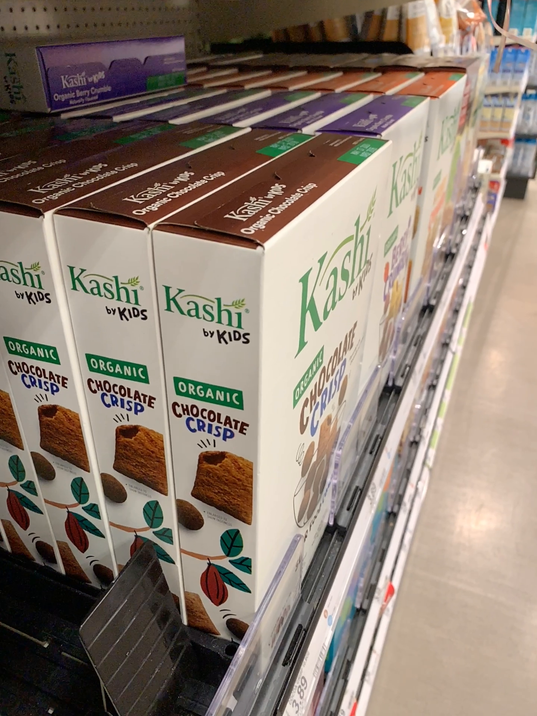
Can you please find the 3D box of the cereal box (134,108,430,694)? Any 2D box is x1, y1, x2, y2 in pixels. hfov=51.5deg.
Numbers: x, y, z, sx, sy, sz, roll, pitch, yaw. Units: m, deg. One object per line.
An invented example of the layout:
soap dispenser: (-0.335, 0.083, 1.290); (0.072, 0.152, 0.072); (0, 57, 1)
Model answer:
cereal box: (0.023, 0.014, 0.317); (0.060, 0.259, 0.201); (13, 34, 20)
